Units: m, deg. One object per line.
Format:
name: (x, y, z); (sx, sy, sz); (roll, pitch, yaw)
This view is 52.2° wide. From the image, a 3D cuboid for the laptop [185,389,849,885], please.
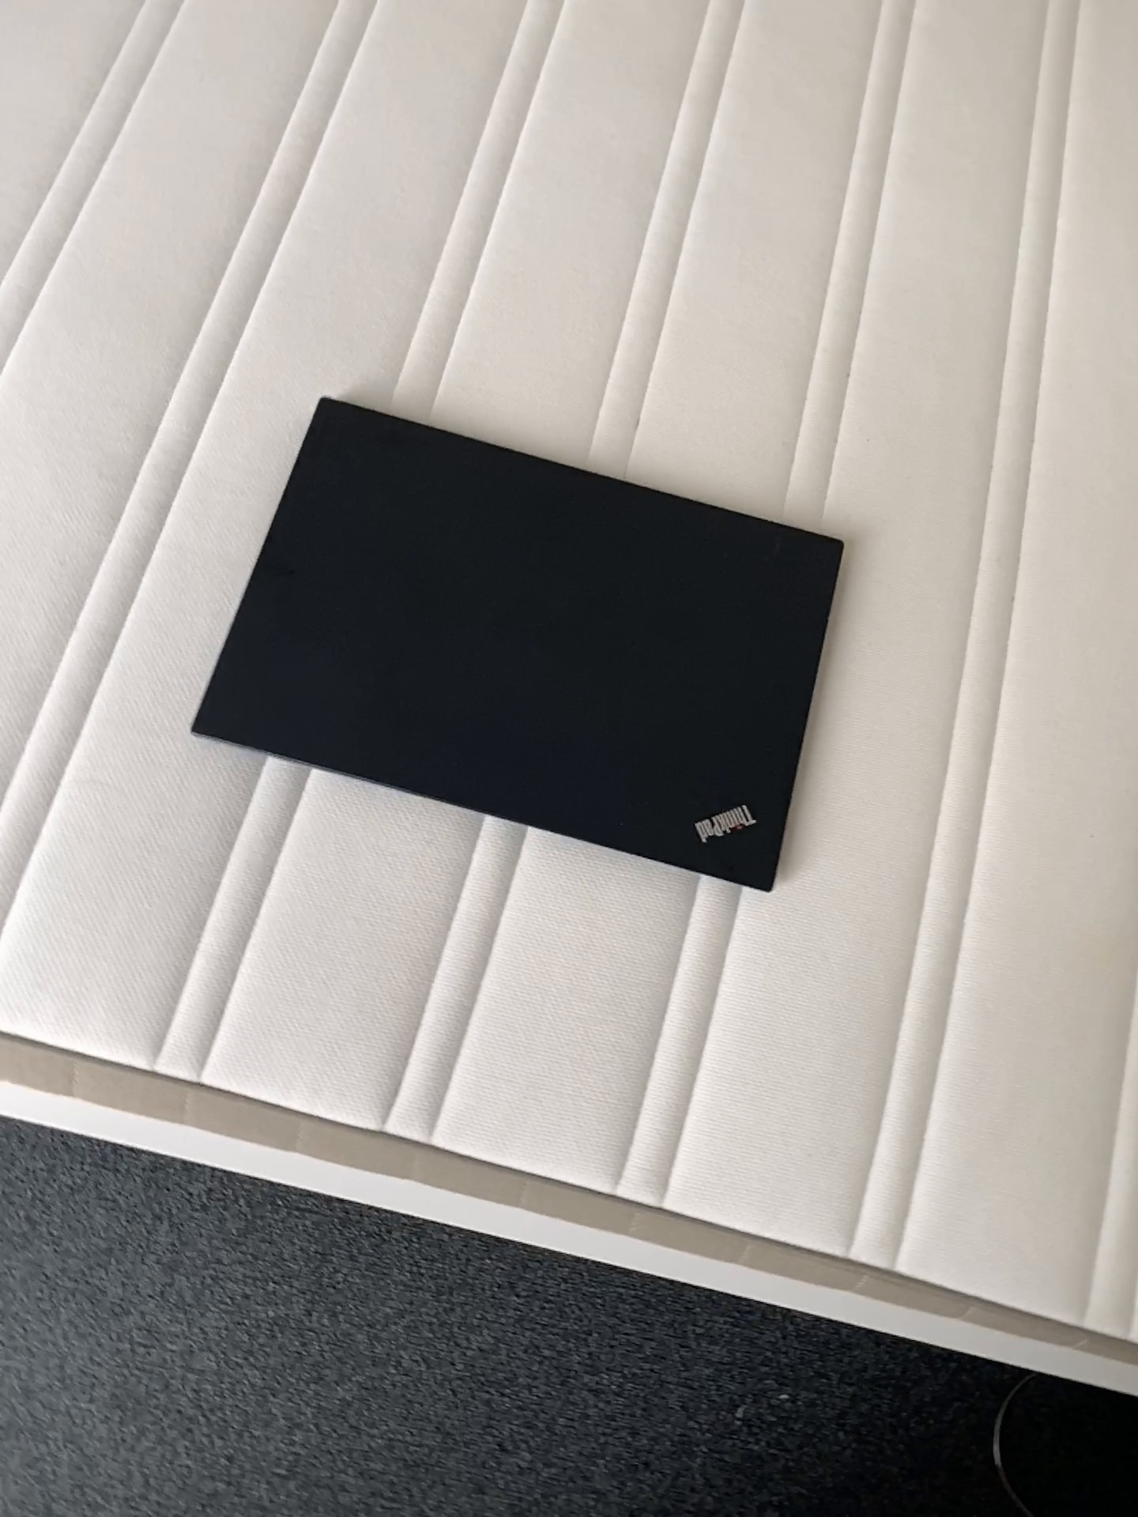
laptop: (-0.017, -0.077, 0.659); (0.325, 0.012, 0.226); (15, 68, -1)
